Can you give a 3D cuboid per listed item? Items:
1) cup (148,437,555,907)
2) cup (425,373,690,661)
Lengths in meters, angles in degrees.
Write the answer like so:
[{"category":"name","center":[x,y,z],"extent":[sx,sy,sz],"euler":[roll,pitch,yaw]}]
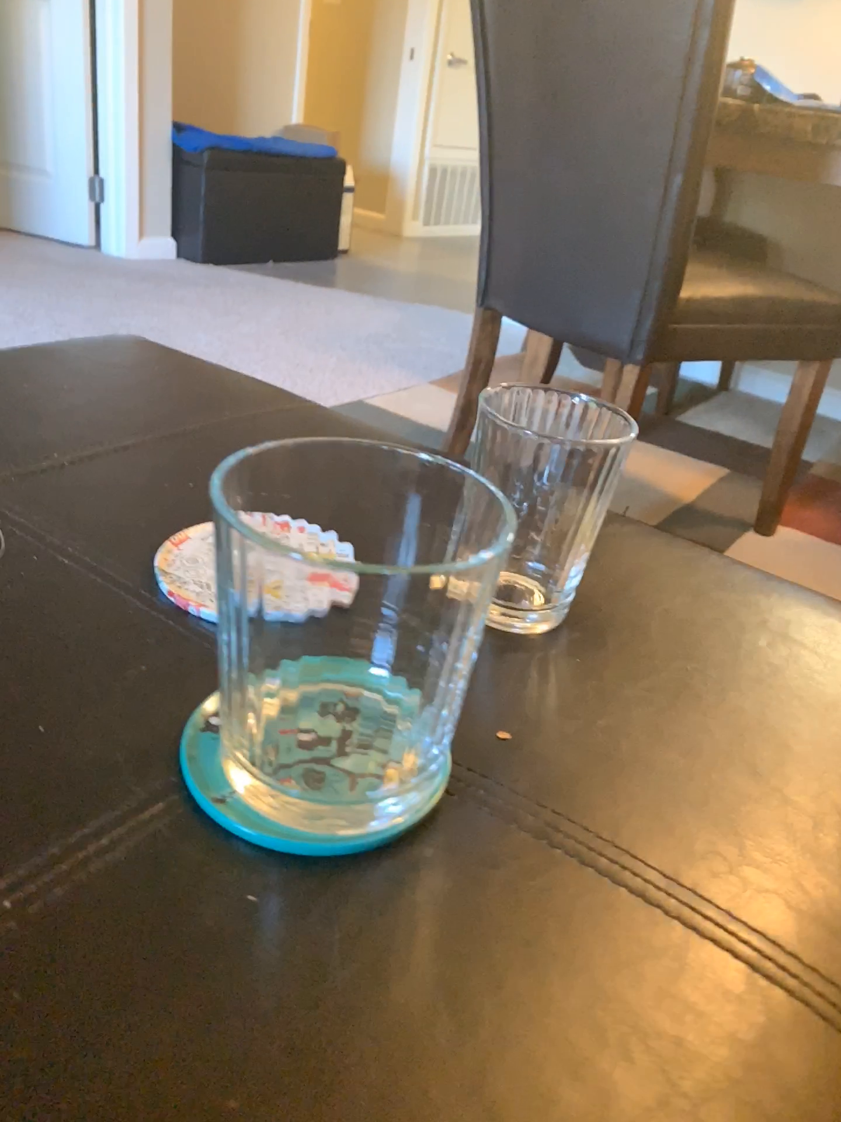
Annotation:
[{"category":"cup","center":[-0.027,0.024,0.246],"extent":[0.080,0.089,0.080],"euler":[7,27,-4]},{"category":"cup","center":[0.051,-0.021,0.351],"extent":[0.060,0.089,0.070],"euler":[-8,32,-29]}]
